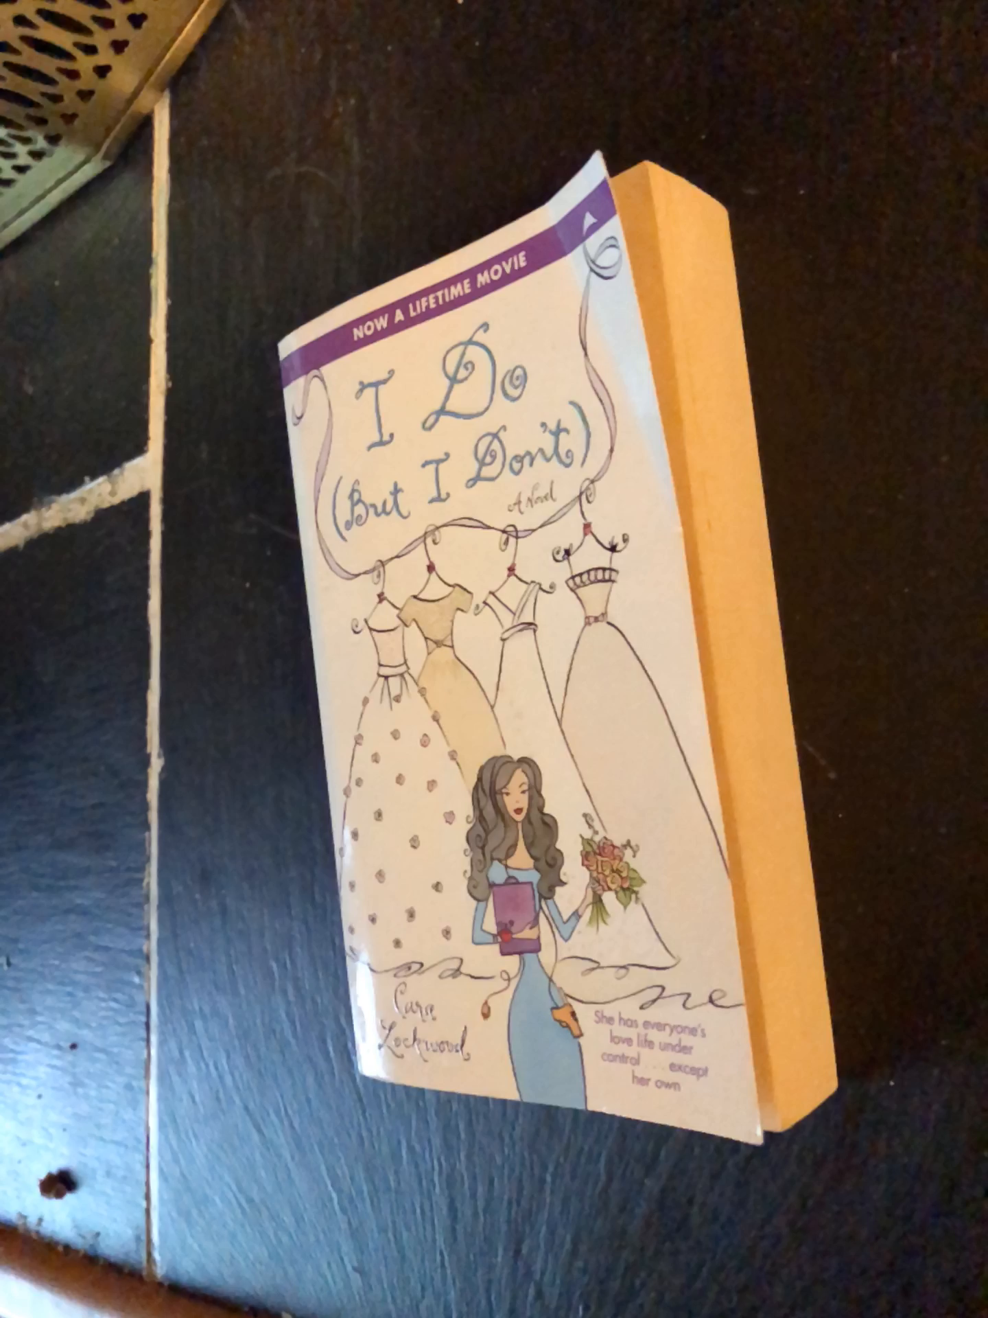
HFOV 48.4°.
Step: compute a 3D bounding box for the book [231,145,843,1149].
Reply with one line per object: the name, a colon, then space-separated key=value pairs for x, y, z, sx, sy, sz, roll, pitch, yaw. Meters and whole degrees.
book: x=0.002 y=0.002 z=0.226 sx=0.111 sy=0.032 sz=0.164 roll=-8 pitch=87 yaw=40
